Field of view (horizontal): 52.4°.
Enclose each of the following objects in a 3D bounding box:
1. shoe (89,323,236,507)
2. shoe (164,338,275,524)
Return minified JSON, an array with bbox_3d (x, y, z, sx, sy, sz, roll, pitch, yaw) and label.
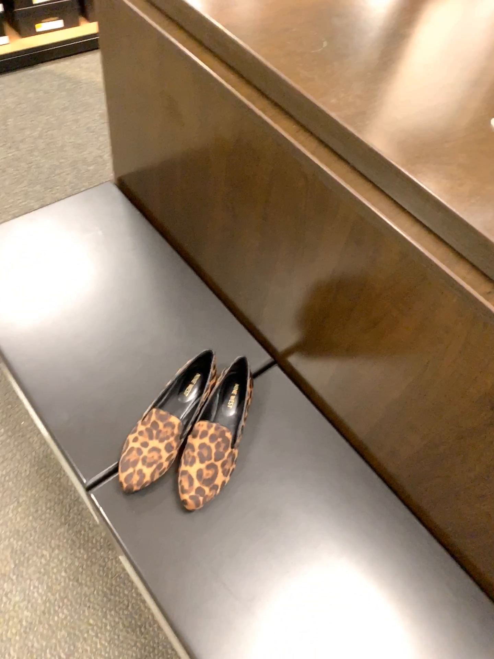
[{"bbox_3d":[-0.119,0.122,0.758,0.090,0.090,0.248,27,57,9],"label":"shoe"},{"bbox_3d":[-0.039,0.148,0.765,0.090,0.090,0.248,17,56,2],"label":"shoe"}]
